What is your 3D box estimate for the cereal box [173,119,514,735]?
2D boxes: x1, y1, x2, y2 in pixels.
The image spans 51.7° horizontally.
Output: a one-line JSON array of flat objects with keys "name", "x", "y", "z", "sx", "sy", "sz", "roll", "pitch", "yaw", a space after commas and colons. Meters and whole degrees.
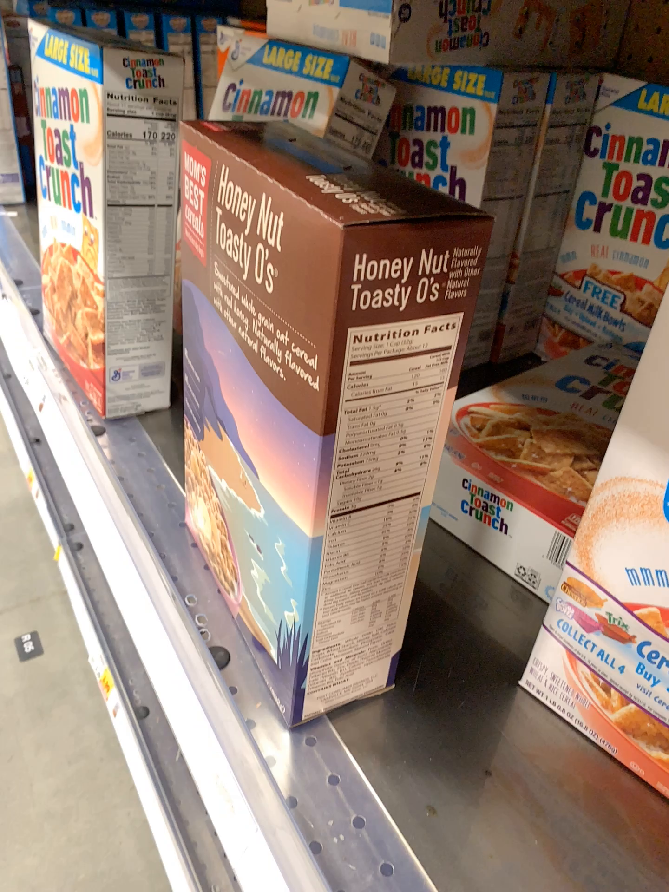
[{"name": "cereal box", "x": -0.023, "y": -0.015, "z": 0.394, "sx": 0.070, "sy": 0.279, "sz": 0.201, "roll": -12, "pitch": 37, "yaw": -27}]
